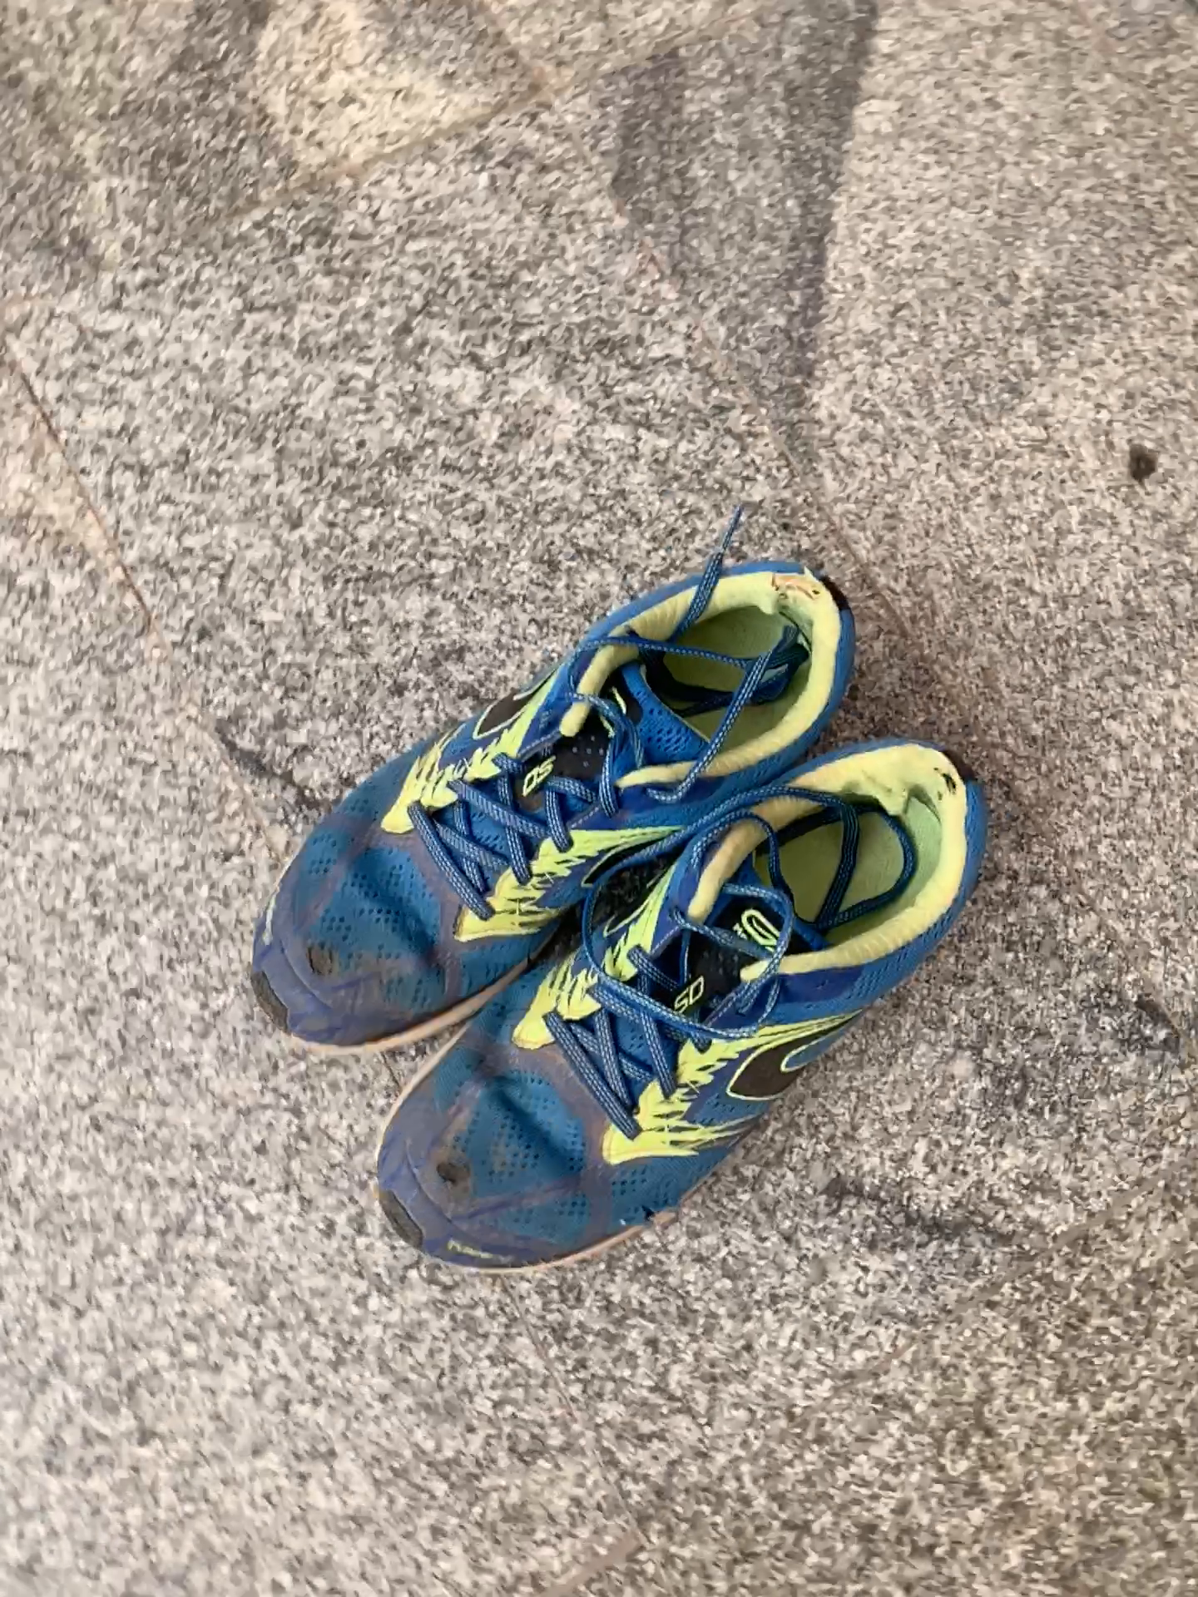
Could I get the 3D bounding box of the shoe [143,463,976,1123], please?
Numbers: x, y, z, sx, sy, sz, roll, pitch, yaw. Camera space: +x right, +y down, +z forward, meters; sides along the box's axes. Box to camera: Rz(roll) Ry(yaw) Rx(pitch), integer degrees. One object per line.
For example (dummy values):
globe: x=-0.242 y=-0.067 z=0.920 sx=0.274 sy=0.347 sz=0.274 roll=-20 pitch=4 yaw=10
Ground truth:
shoe: x=-0.009 y=-0.006 z=0.477 sx=0.290 sy=0.060 sz=0.110 roll=-32 pitch=76 yaw=-13

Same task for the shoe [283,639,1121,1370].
shoe: x=0.042 y=0.068 z=0.451 sx=0.290 sy=0.060 sz=0.100 roll=-35 pitch=67 yaw=-13
